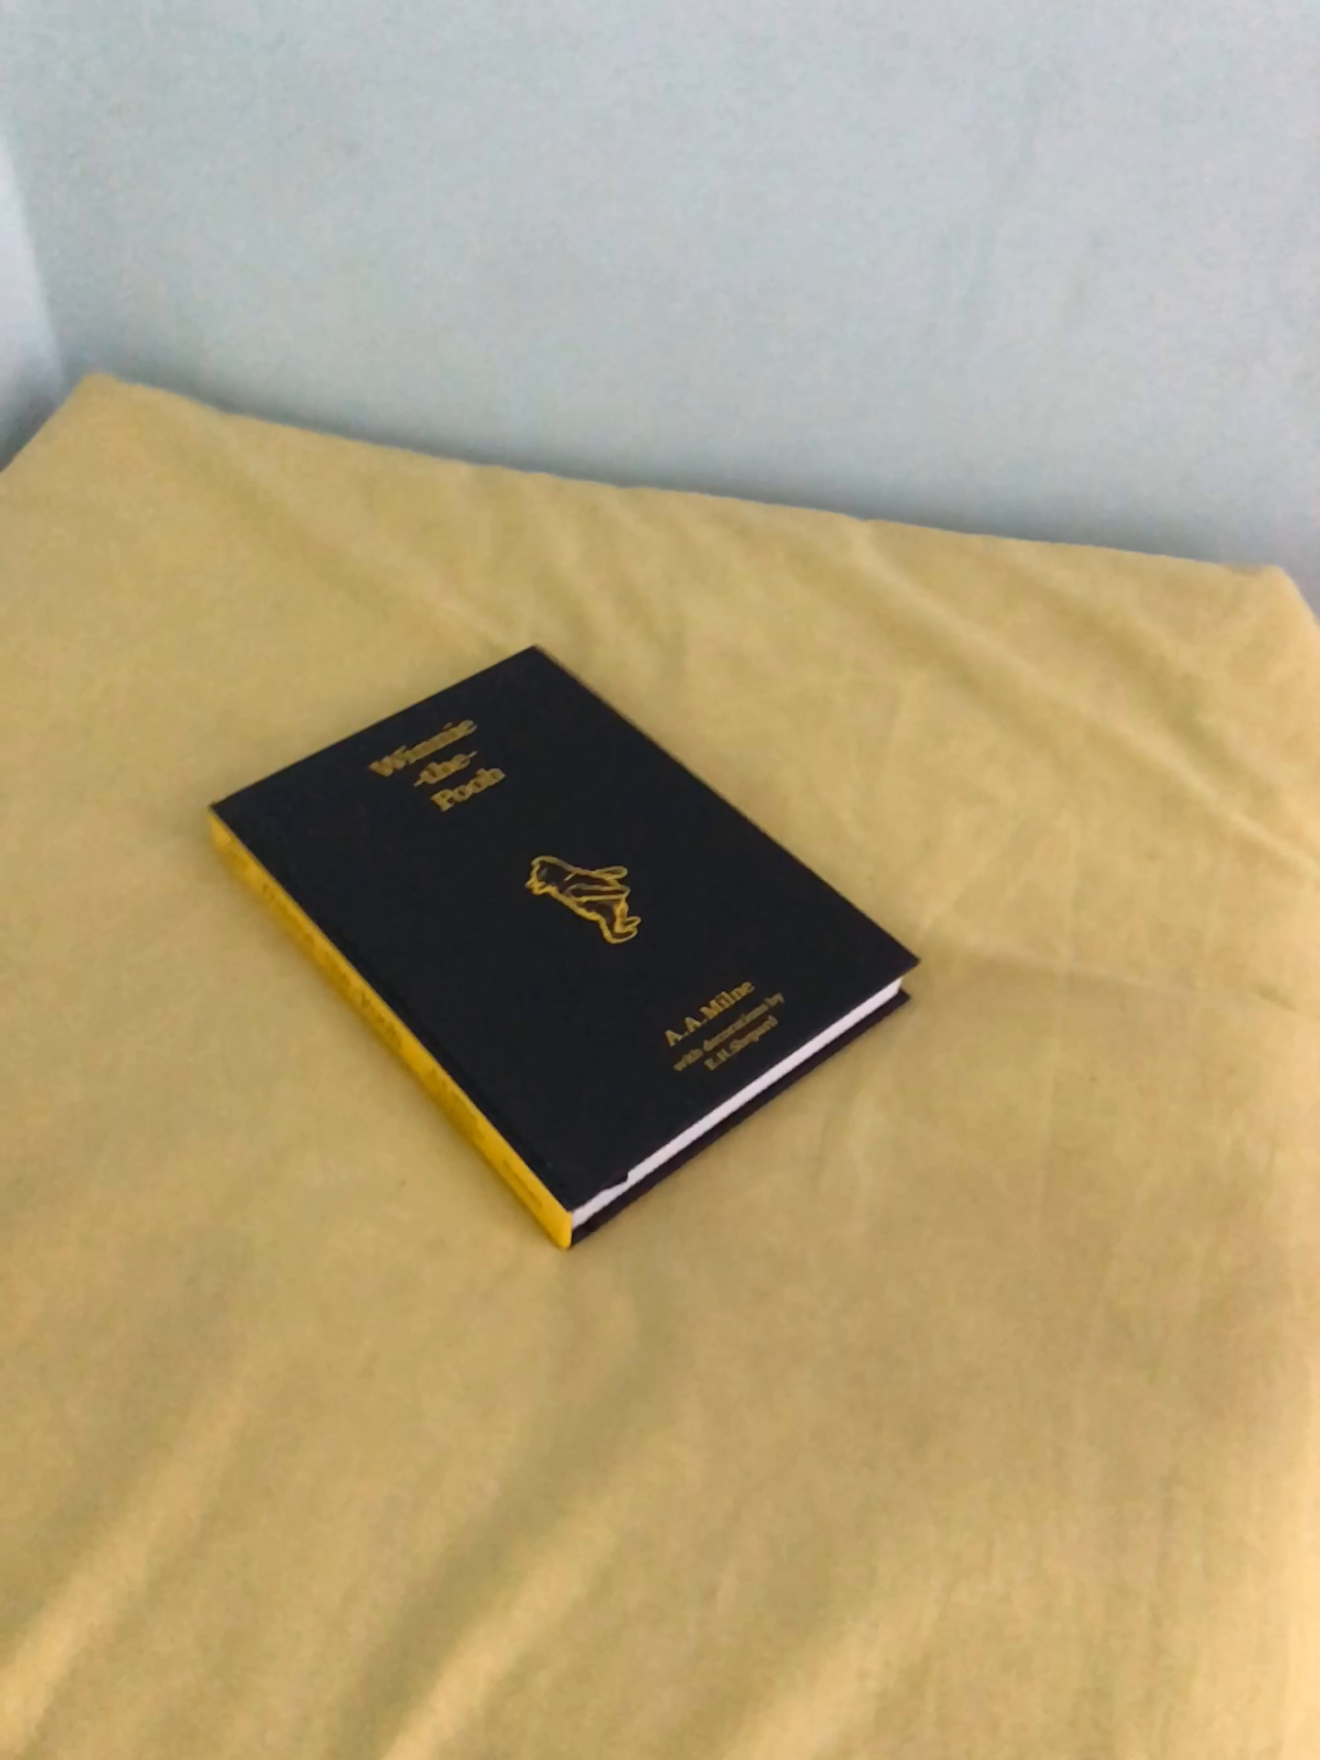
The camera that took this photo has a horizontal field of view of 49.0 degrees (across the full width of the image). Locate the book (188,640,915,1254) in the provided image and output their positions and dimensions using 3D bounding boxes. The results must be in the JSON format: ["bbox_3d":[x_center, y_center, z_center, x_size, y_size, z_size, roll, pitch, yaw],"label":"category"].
[{"bbox_3d":[-0.043,0.006,0.513,0.151,0.020,0.220,-31,55,-27],"label":"book"}]
